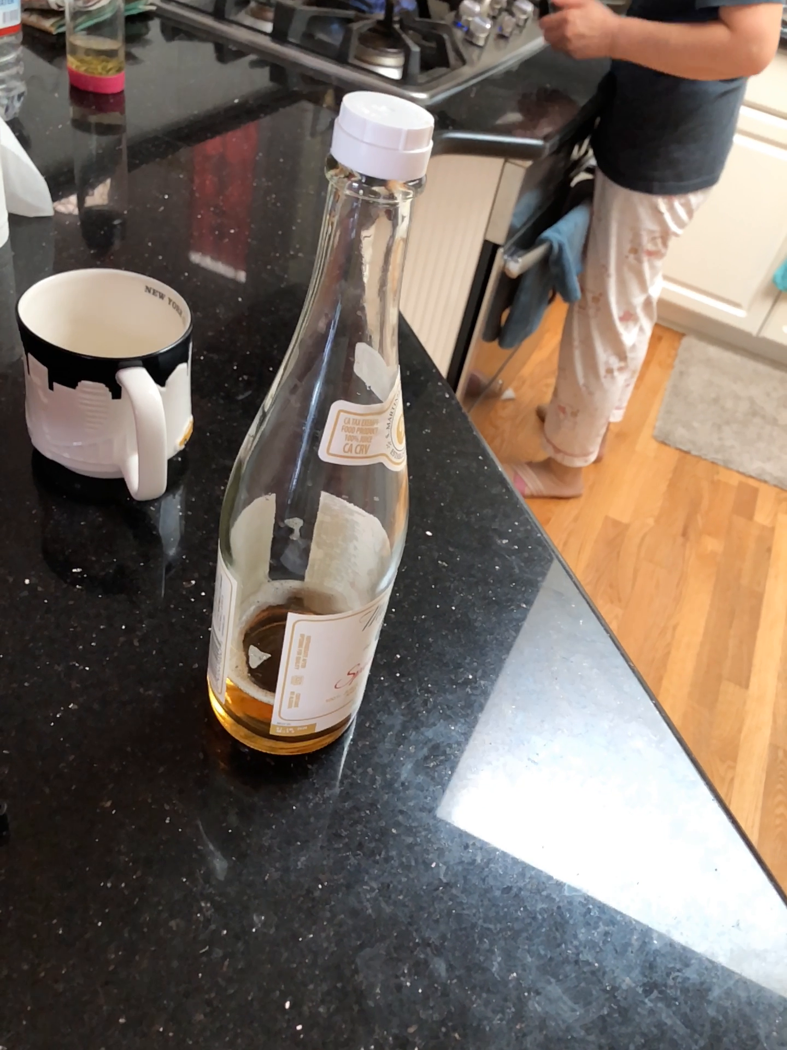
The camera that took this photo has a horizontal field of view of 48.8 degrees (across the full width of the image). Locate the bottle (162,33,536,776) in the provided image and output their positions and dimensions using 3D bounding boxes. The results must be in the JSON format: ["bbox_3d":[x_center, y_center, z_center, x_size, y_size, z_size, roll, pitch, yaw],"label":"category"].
[{"bbox_3d":[-0.031,-0.023,0.361,0.098,0.288,0.094,8,42,-7],"label":"bottle"}]
